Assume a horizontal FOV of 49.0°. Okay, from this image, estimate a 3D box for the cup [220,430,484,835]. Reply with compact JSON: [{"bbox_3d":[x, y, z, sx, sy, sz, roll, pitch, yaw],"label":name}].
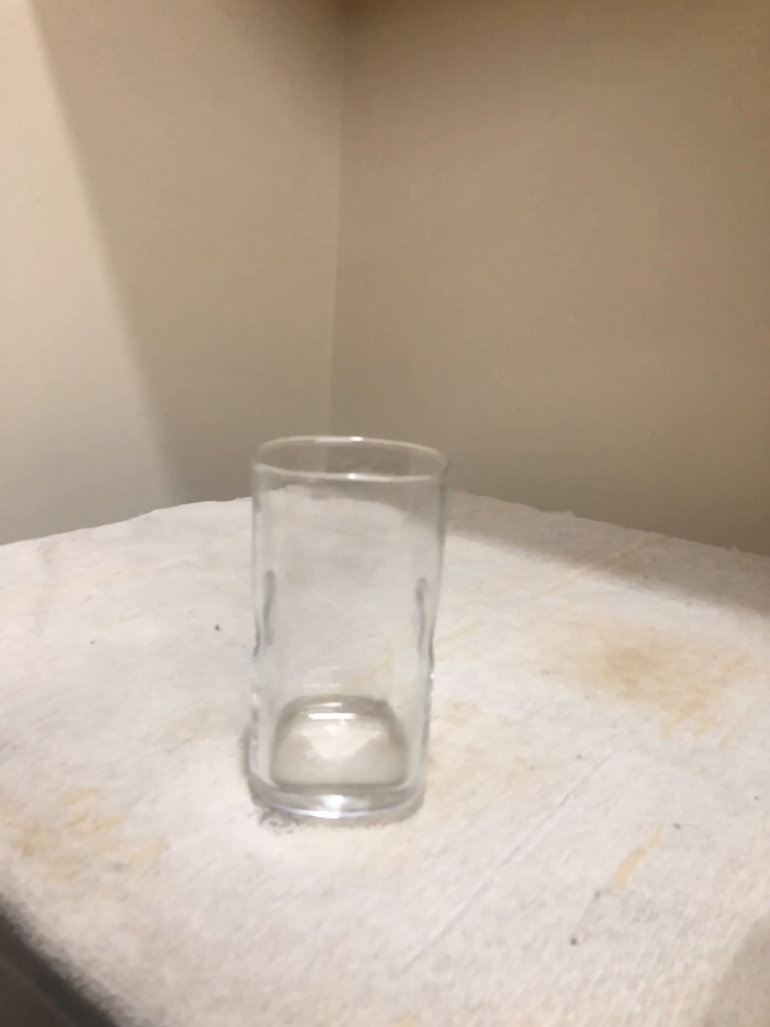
[{"bbox_3d":[-0.013,0.034,0.275,0.070,0.110,0.070,3,13,-1],"label":"cup"}]
